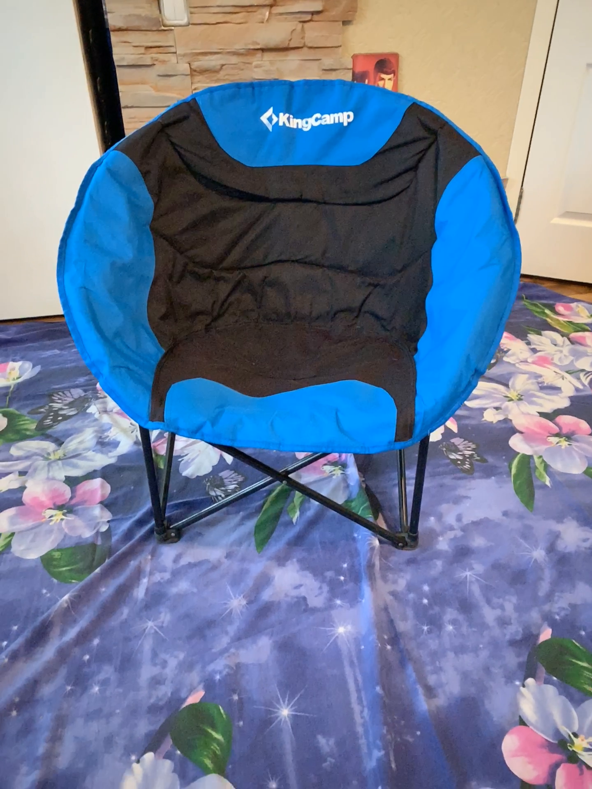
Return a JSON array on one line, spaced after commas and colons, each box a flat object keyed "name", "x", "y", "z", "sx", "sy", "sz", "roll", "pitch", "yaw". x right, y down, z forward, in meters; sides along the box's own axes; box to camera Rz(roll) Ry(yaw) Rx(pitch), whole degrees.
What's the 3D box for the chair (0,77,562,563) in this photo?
[{"name": "chair", "x": -0.021, "y": -0.184, "z": 1.239, "sx": 0.760, "sy": 0.772, "sz": 0.613, "roll": 2, "pitch": 33, "yaw": 4}]
